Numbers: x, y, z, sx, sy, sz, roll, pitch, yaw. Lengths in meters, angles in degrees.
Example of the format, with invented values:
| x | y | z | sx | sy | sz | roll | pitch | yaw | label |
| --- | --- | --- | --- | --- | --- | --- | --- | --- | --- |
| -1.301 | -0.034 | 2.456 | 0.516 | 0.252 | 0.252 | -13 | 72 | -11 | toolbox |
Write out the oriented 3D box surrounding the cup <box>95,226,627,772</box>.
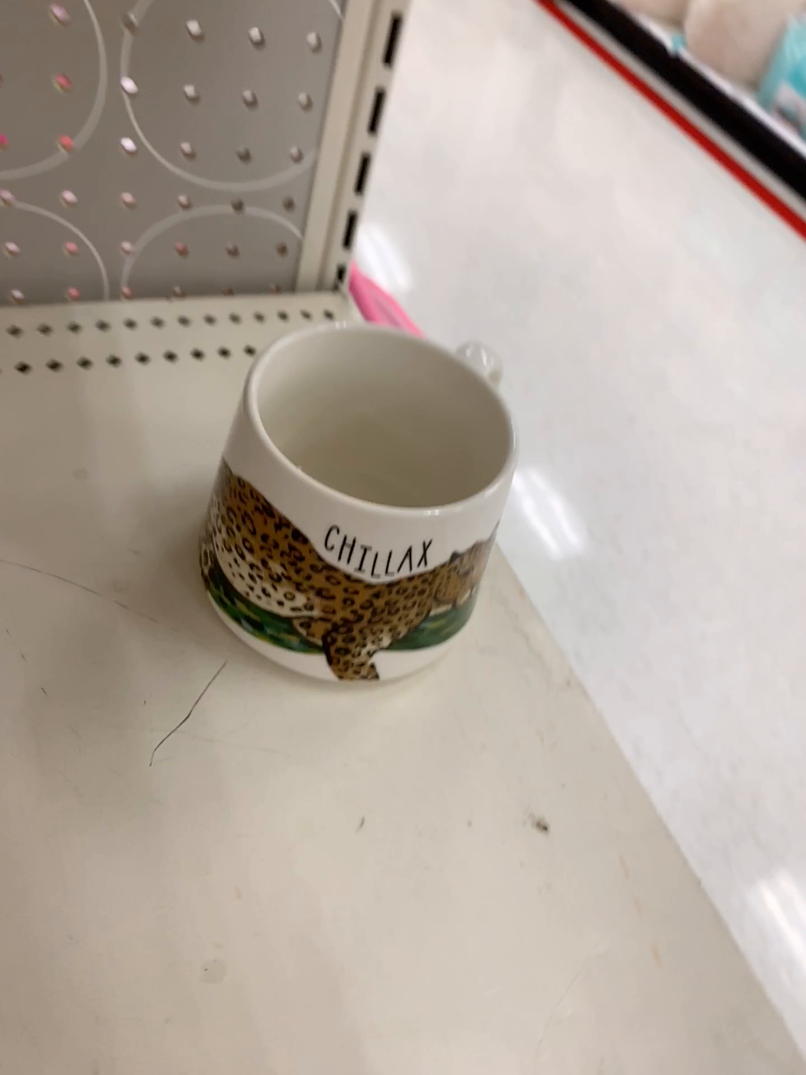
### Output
| x | y | z | sx | sy | sz | roll | pitch | yaw | label |
| --- | --- | --- | --- | --- | --- | --- | --- | --- | --- |
| -0.013 | -0.021 | 0.295 | 0.110 | 0.090 | 0.141 | 33 | 48 | 11 | cup |
